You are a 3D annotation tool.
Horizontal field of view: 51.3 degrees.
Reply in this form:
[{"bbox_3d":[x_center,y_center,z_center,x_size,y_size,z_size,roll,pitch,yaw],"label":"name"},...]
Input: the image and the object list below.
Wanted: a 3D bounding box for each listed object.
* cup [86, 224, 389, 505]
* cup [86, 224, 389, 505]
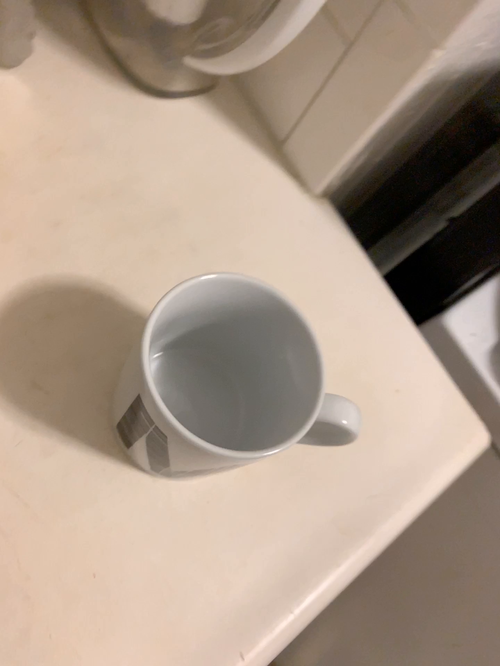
[{"bbox_3d":[-0.009,0.030,0.307,0.130,0.110,0.100,21,61,-16],"label":"cup"},{"bbox_3d":[-0.009,0.030,0.307,0.130,0.110,0.100,21,61,-16],"label":"cup"}]
